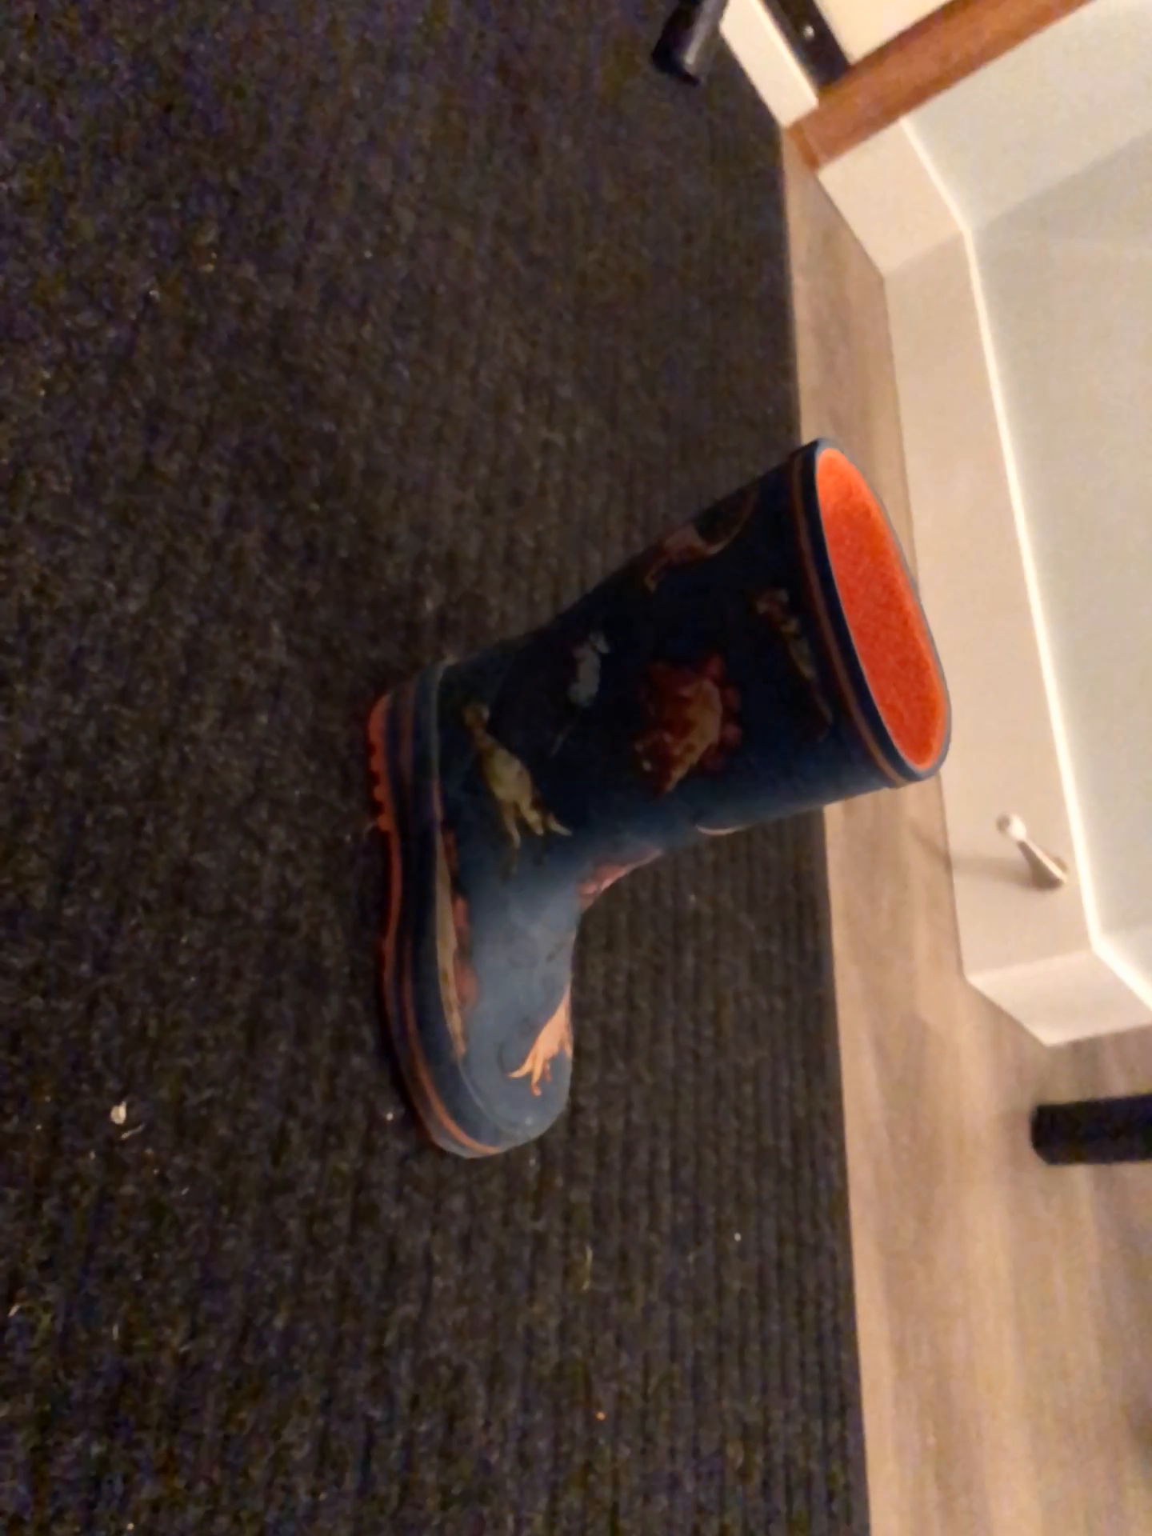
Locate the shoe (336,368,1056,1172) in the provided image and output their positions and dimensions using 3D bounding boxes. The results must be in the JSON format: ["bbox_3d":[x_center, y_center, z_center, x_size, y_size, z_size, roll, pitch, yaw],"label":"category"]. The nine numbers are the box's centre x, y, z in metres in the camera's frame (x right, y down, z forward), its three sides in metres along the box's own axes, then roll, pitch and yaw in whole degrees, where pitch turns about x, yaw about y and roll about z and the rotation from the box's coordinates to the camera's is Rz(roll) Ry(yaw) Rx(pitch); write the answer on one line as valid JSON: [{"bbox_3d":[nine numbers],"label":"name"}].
[{"bbox_3d":[0.025,0.013,0.406,0.081,0.179,0.190,17,58,-52],"label":"shoe"}]
